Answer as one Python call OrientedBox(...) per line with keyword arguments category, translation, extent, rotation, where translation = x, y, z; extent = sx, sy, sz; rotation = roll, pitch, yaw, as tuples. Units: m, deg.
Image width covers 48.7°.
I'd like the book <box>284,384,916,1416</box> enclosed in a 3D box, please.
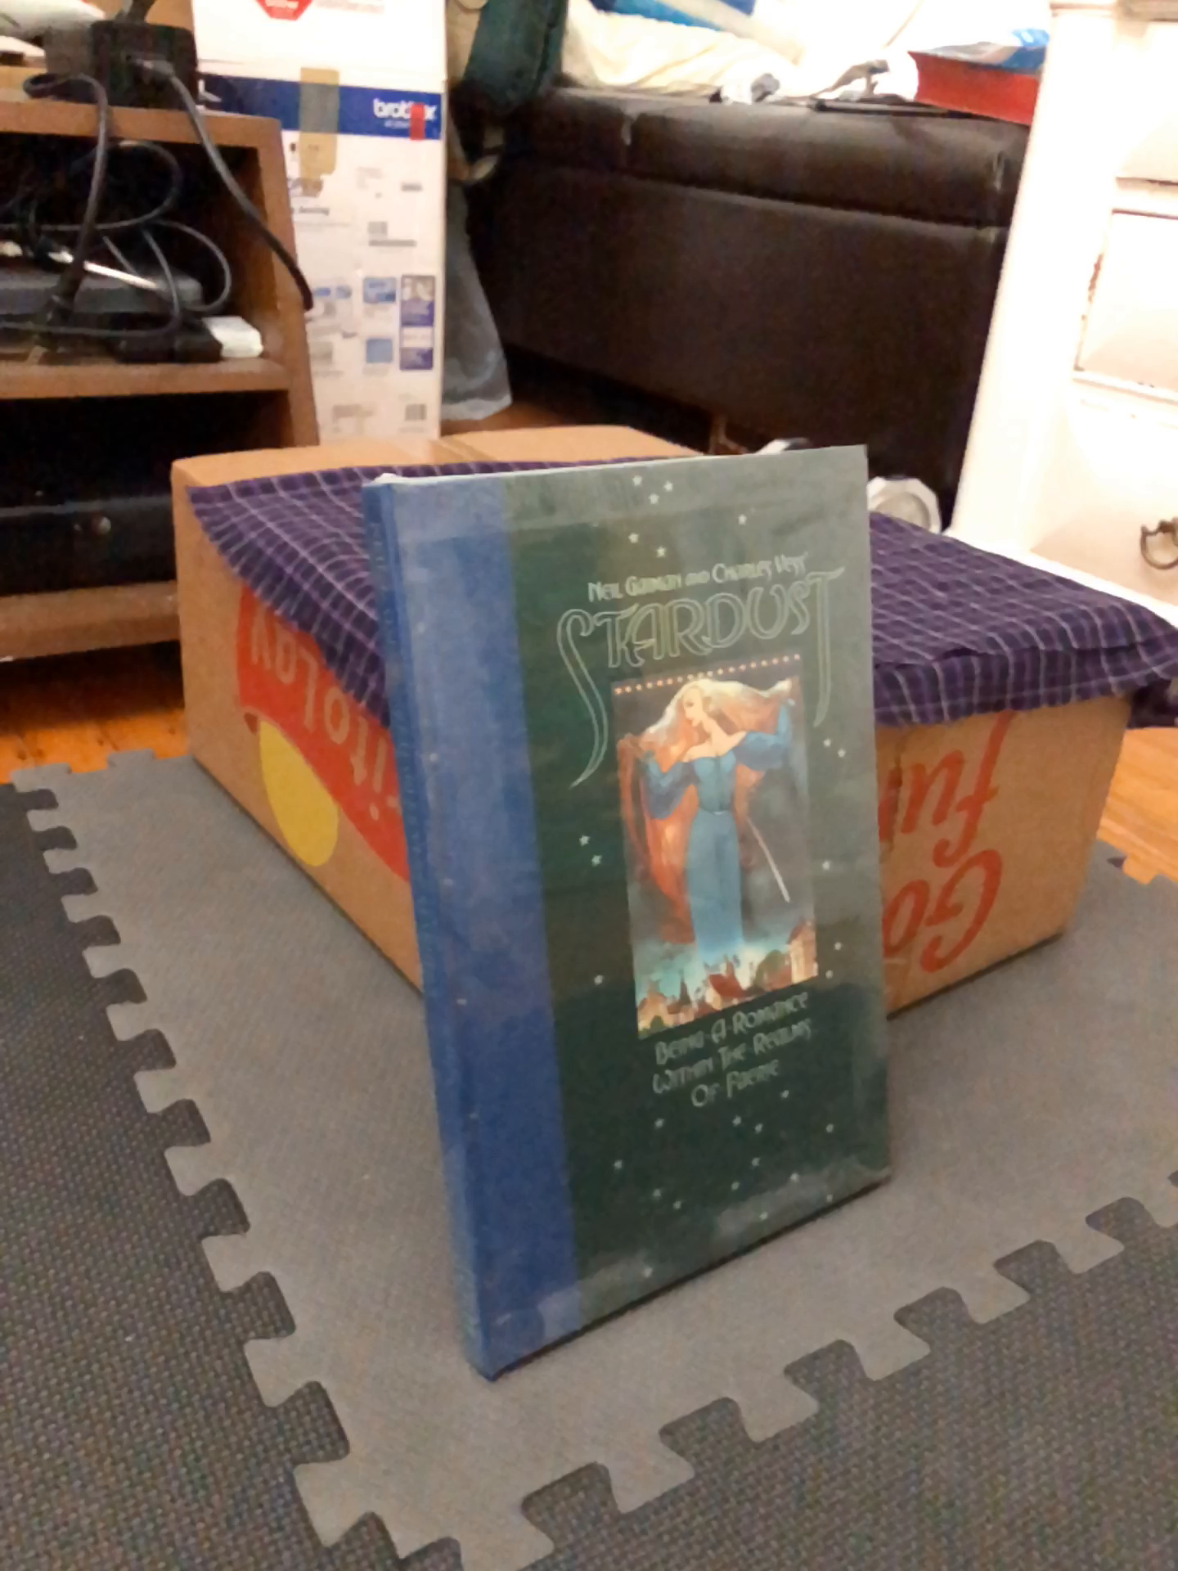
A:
OrientedBox(category="book", translation=(0.023, 0.029, 0.484), extent=(0.220, 0.329, 0.050), rotation=(-14, 17, -32))
